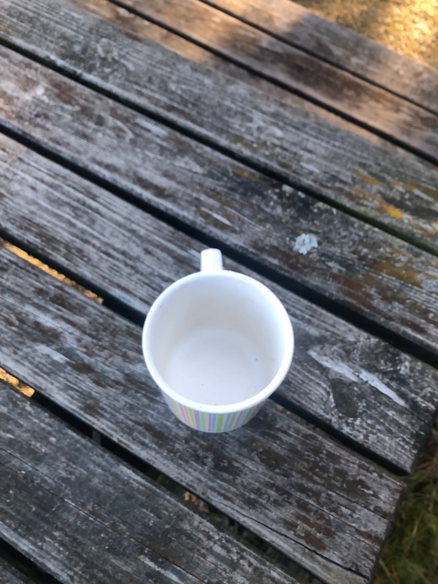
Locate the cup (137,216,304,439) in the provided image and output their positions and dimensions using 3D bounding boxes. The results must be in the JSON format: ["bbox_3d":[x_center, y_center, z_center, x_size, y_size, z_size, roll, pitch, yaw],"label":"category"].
[{"bbox_3d":[-0.006,0.028,0.358,0.098,0.096,0.134,-1,64,-6],"label":"cup"}]
